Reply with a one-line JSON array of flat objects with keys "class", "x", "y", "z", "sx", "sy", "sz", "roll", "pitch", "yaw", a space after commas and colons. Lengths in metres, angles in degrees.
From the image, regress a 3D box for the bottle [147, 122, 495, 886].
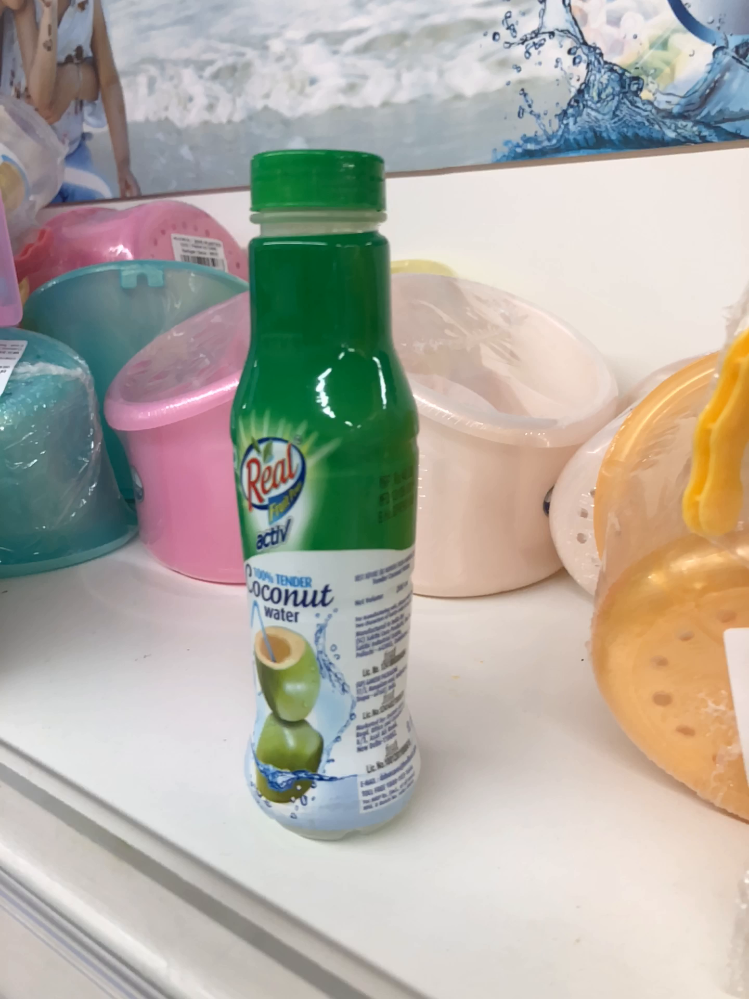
[{"class": "bottle", "x": -0.009, "y": 0.001, "z": 0.226, "sx": 0.060, "sy": 0.179, "sz": 0.060, "roll": -1, "pitch": 17, "yaw": 0}]
